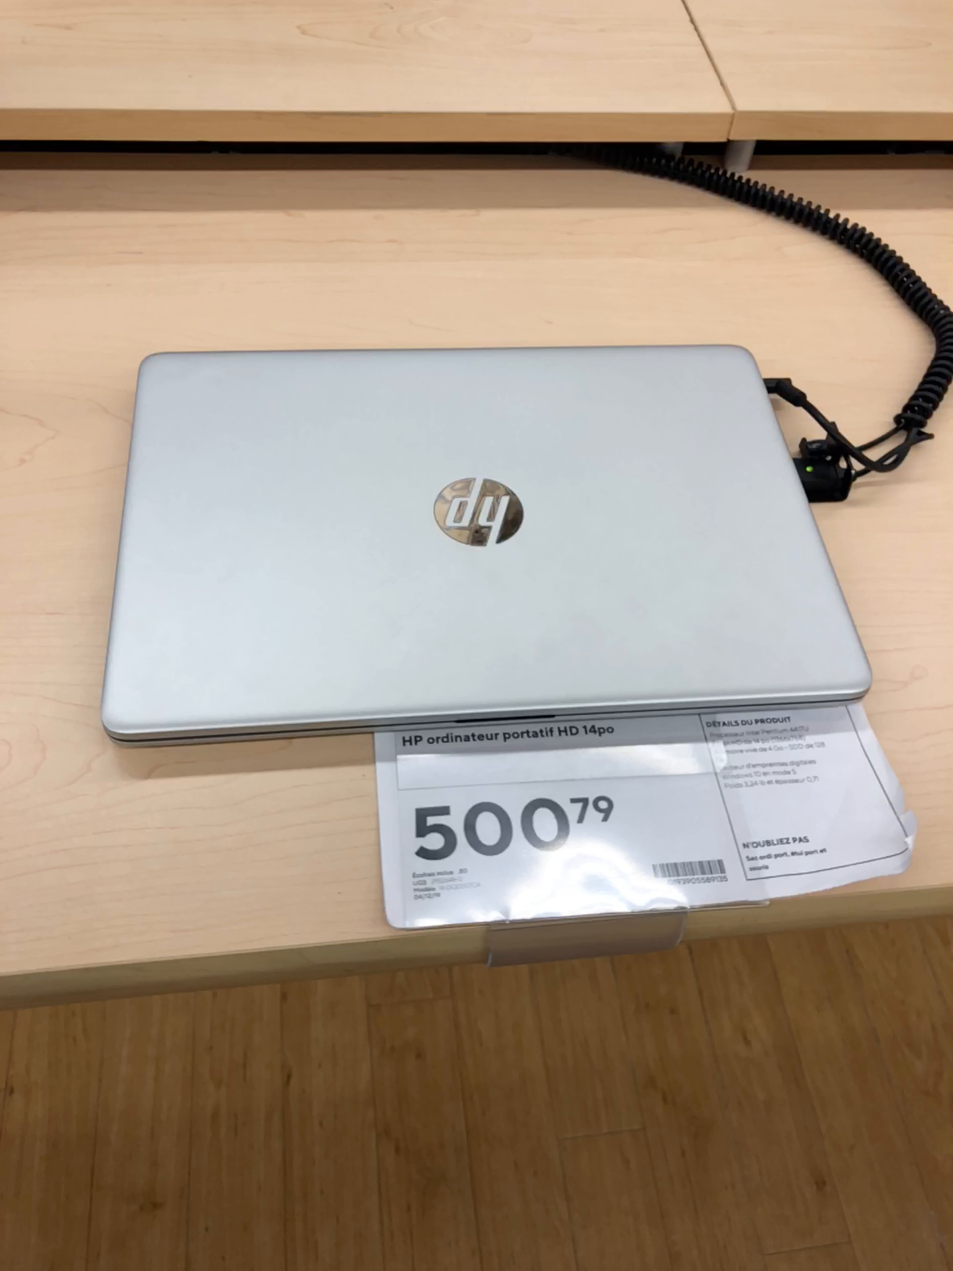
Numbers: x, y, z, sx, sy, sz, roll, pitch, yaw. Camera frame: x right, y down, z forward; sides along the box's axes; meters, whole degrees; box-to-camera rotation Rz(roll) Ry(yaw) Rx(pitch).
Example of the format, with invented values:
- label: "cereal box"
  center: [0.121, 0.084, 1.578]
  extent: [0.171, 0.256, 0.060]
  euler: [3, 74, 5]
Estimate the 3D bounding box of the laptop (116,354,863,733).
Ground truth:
- label: "laptop"
  center: [0.003, -0.057, 0.488]
  extent: [0.309, 0.004, 0.206]
  euler: [-3, 56, -9]
